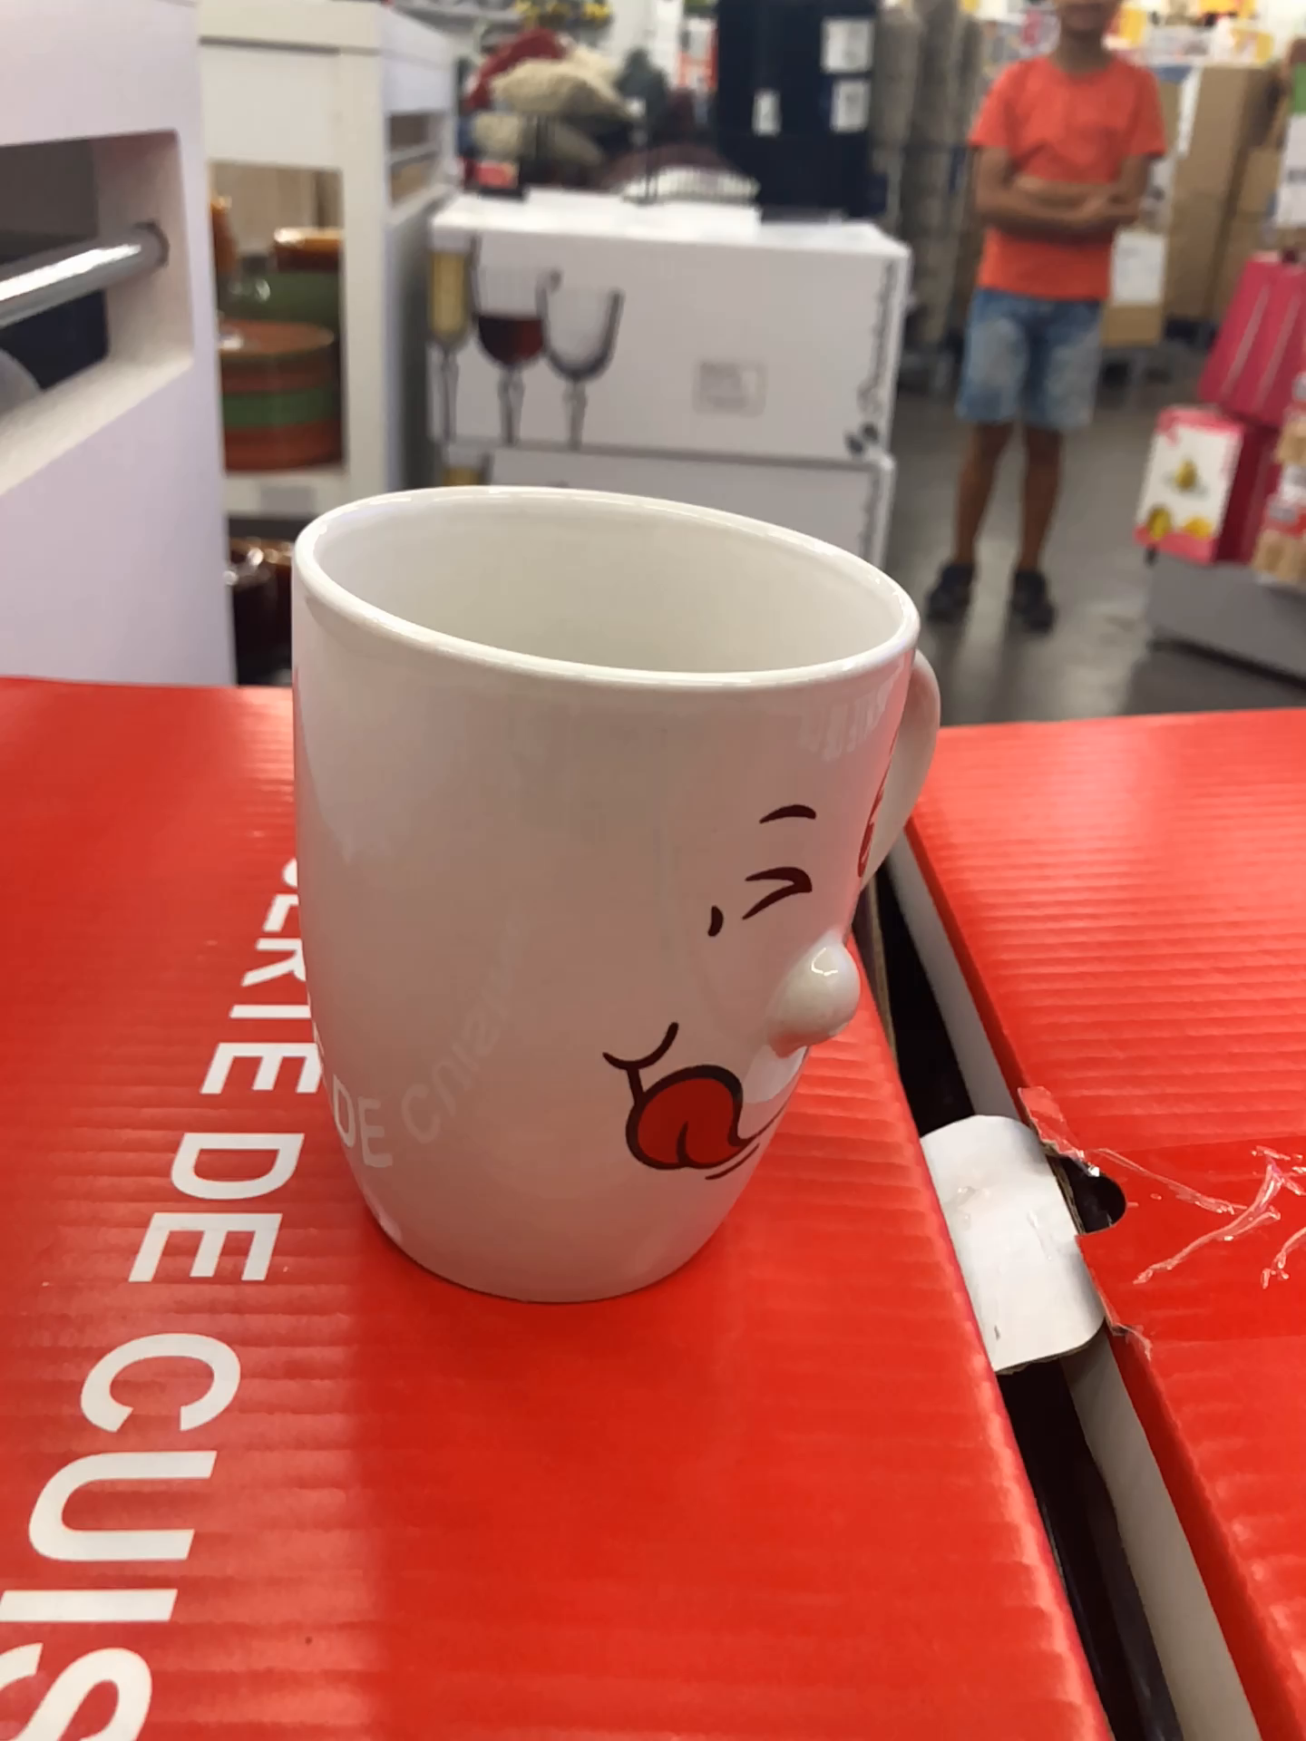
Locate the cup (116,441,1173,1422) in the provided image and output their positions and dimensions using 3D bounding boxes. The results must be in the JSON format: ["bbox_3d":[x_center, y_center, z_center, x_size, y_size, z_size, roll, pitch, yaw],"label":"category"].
[{"bbox_3d":[0.001,-0.007,0.230,0.092,0.092,0.124,26,34,36],"label":"cup"}]
